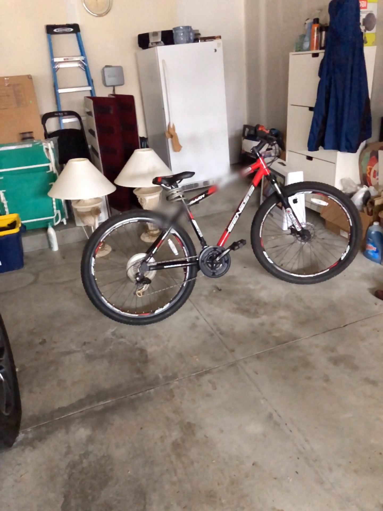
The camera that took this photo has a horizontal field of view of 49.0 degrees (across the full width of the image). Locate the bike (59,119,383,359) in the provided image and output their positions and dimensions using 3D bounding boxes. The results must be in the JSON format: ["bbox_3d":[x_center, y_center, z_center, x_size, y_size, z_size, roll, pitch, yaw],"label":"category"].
[{"bbox_3d":[0.221,-0.147,2.482,1.668,1.053,0.592,-10,24,-10],"label":"bike"}]
